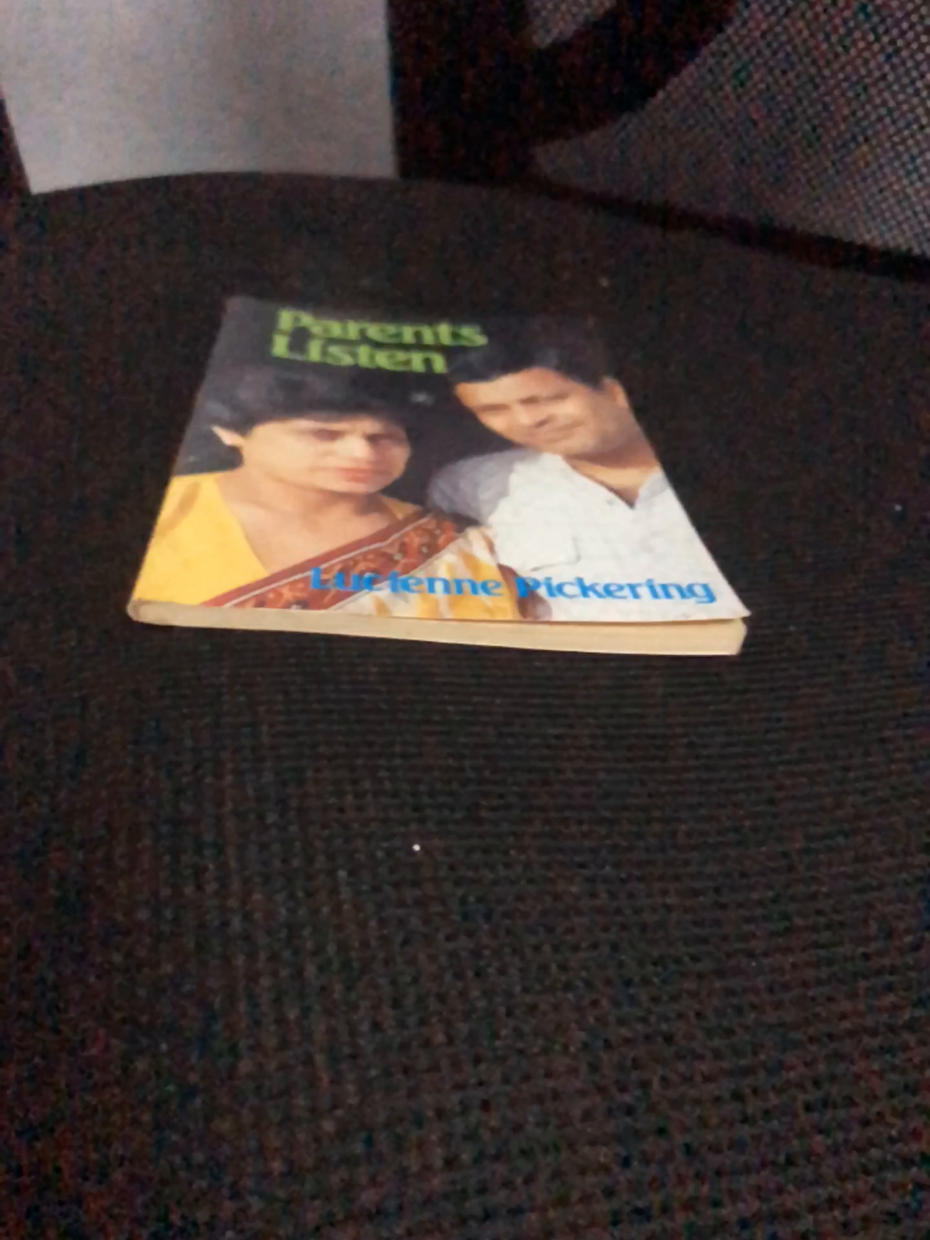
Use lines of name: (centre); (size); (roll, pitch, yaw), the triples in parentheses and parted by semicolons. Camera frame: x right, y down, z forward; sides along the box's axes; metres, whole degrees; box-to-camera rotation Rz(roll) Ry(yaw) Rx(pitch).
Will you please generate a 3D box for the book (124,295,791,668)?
book: (-0.007, -0.050, 0.283); (0.130, 0.010, 0.191); (2, 33, -7)
